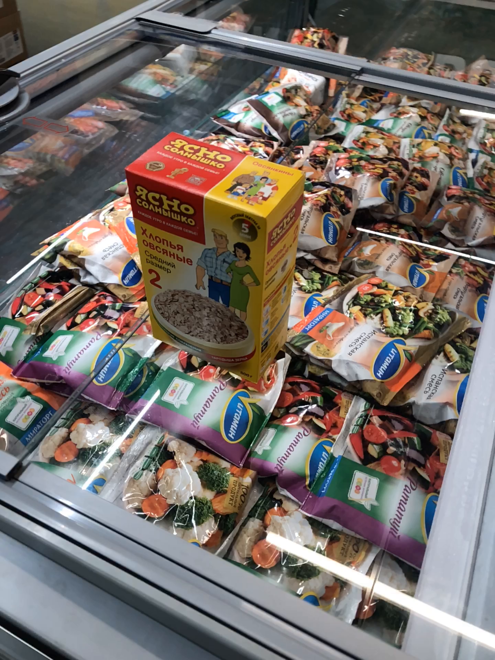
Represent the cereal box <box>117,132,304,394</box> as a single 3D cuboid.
[{"bbox_3d":[-0.028,-0.050,0.477,0.120,0.199,0.070,22,51,18],"label":"cereal box"}]
